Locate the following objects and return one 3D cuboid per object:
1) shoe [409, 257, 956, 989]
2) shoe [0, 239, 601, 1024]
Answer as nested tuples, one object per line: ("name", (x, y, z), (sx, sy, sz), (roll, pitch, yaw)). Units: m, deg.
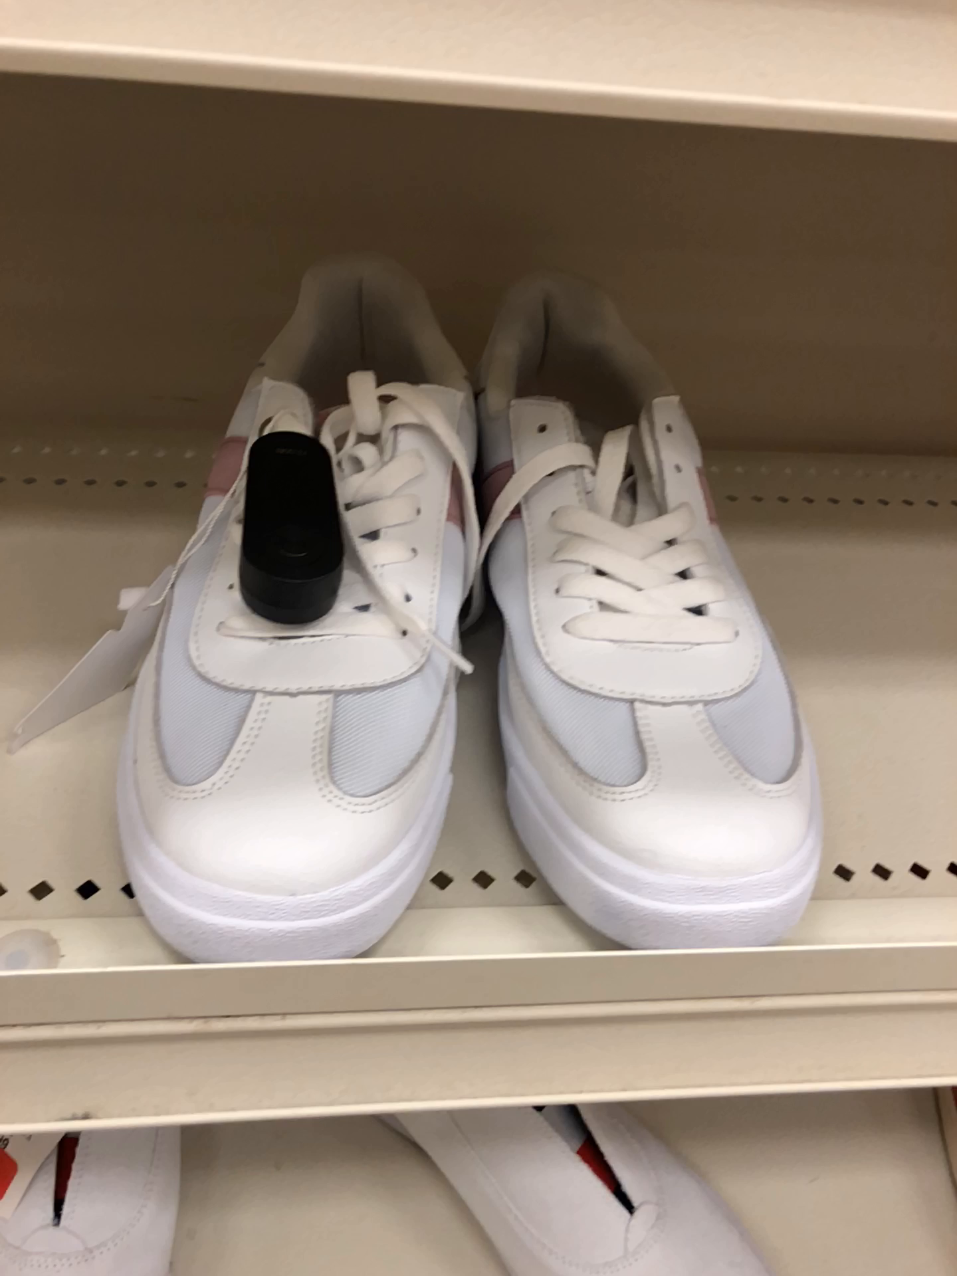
("shoe", (0.050, -0.058, 0.407), (0.120, 0.119, 0.393), (0, 26, -8))
("shoe", (-0.051, -0.057, 0.380), (0.120, 0.119, 0.393), (2, 26, -4))
